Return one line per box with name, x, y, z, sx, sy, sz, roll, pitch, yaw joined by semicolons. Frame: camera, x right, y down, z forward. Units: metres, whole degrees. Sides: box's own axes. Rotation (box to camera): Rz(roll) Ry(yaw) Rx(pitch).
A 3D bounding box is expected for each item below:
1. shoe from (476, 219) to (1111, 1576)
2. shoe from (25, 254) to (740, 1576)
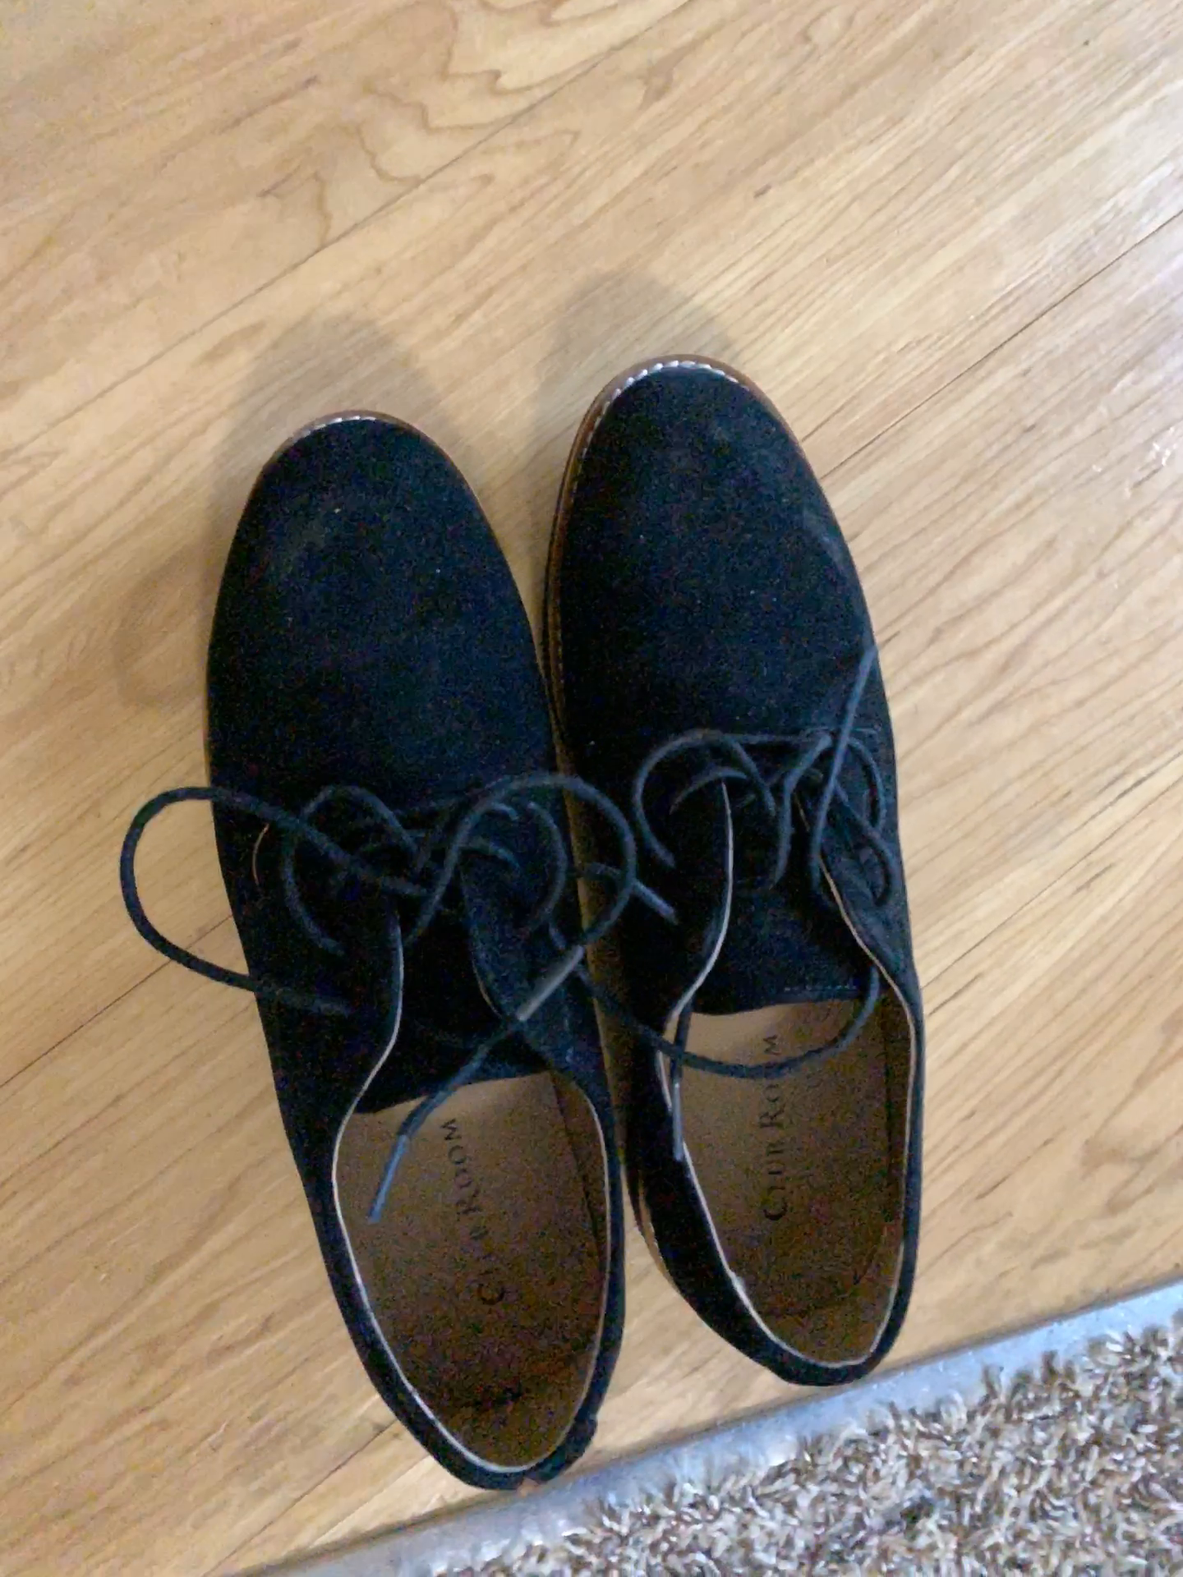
shoe;0.045;0.021;0.323;0.110;0.070;0.310;-8;88;-7
shoe;-0.051;0.037;0.313;0.100;0.070;0.310;-12;88;-7
